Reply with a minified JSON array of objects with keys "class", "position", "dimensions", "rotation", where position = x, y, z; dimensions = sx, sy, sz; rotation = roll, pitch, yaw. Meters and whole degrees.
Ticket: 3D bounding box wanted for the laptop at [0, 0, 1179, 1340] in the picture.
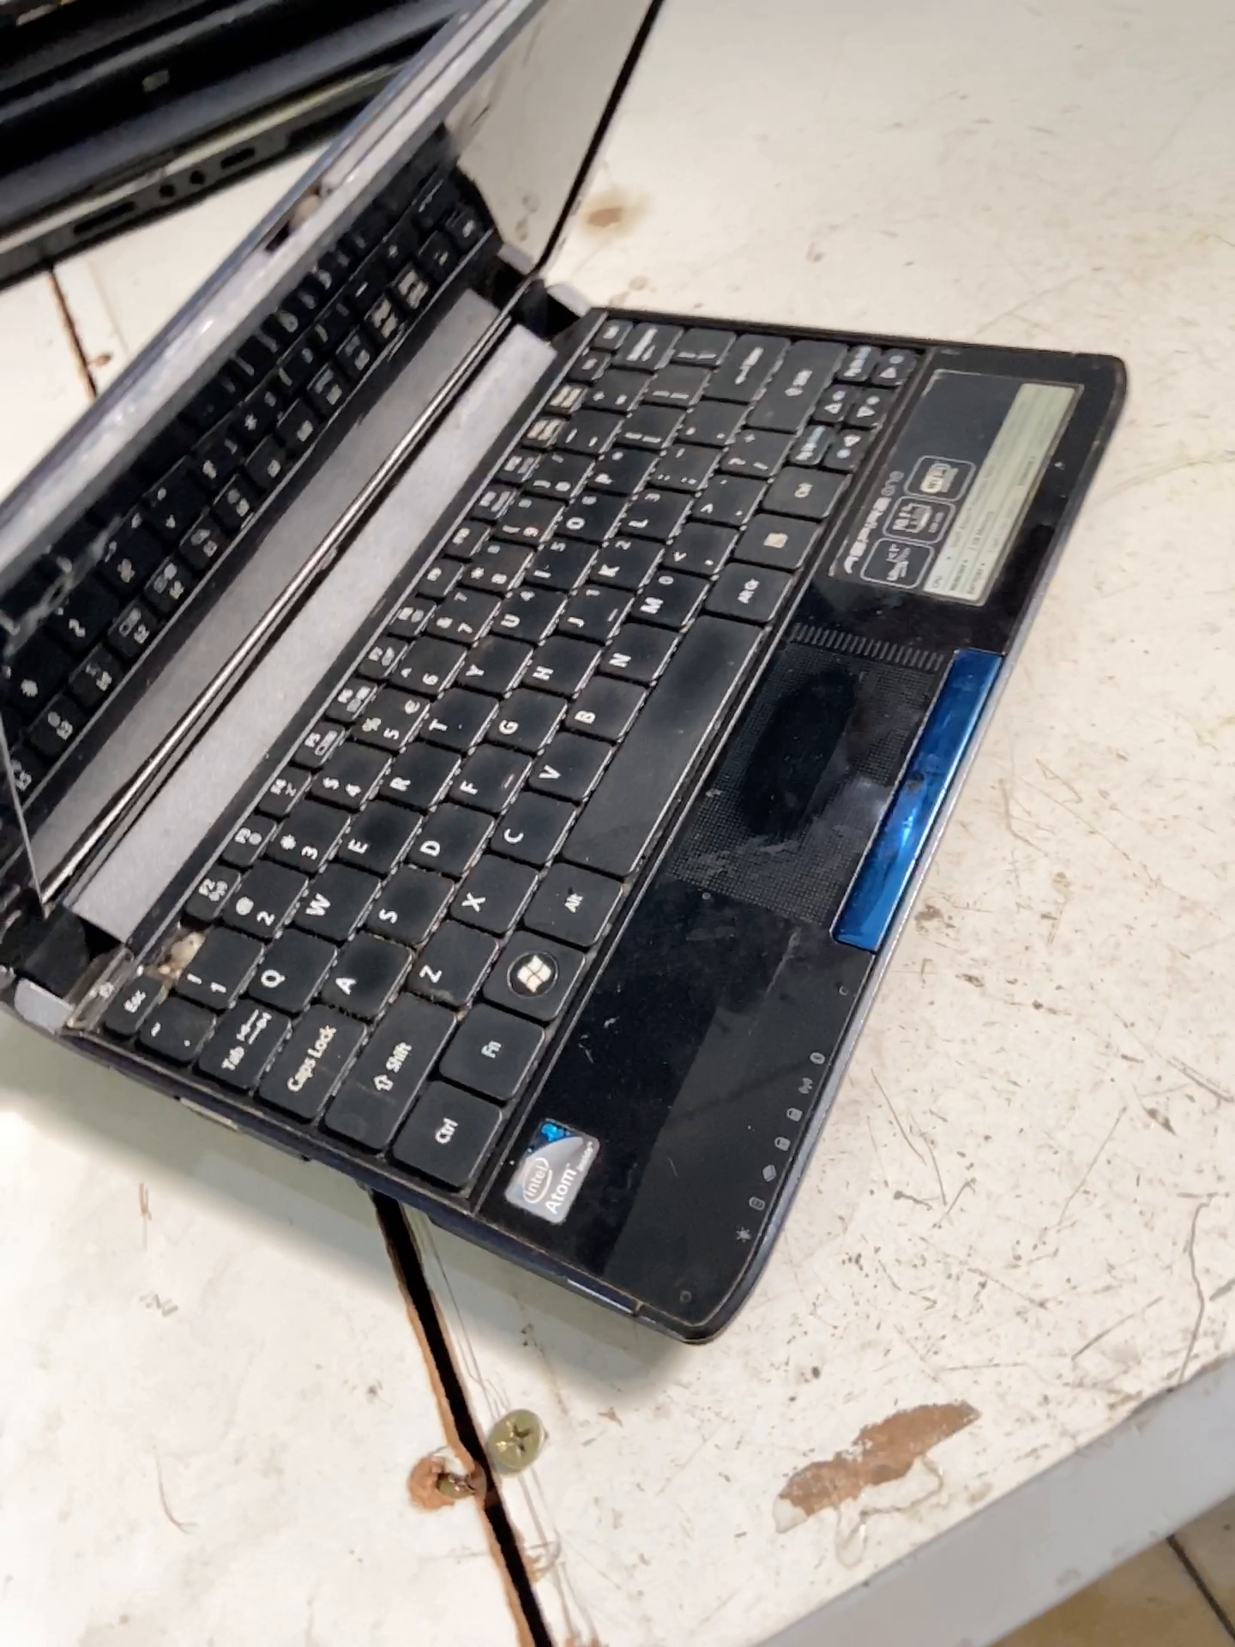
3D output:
[{"class":"laptop","position":[-0.022,-0.075,0.238],"dimensions":[0.171,0.131,0.244],"rotation":[16,61,25]}]
